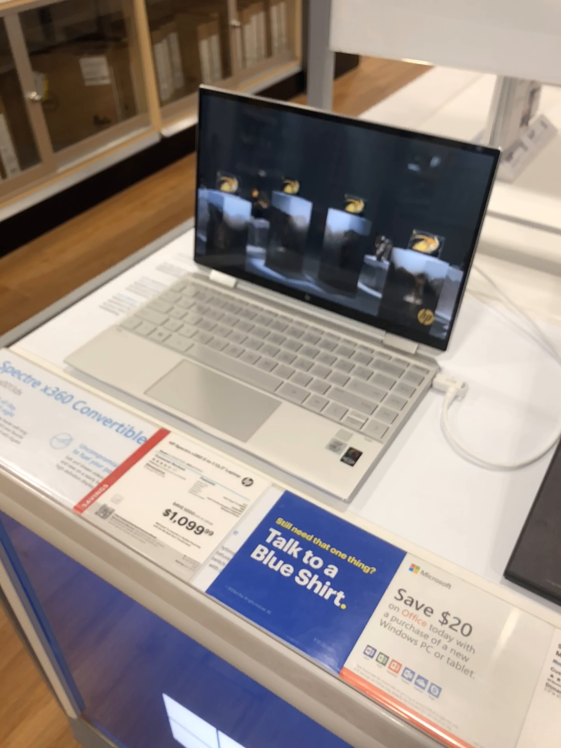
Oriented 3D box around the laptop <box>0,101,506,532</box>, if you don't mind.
[{"bbox_3d":[-0.018,-0.075,0.518,0.303,0.184,0.228,23,46,25],"label":"laptop"}]
